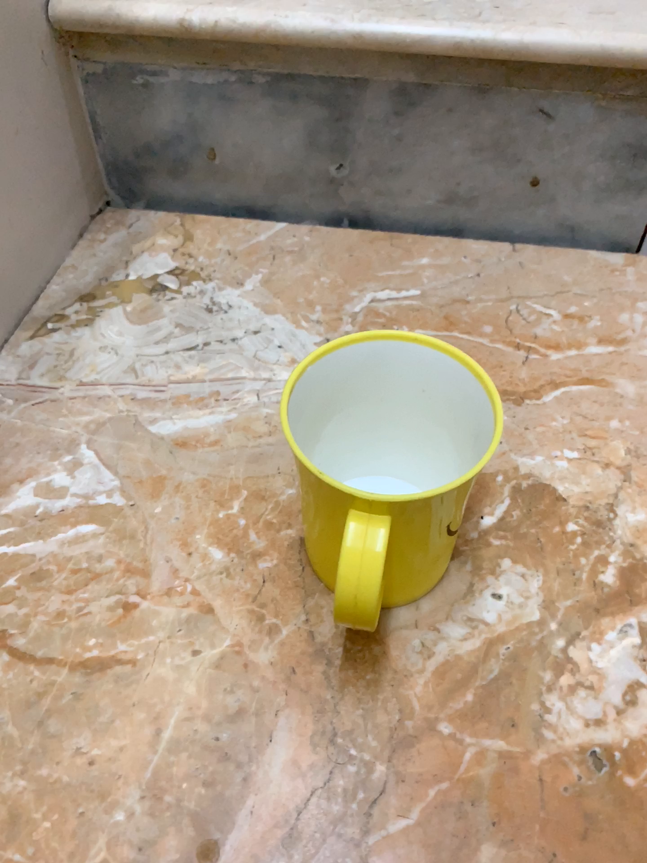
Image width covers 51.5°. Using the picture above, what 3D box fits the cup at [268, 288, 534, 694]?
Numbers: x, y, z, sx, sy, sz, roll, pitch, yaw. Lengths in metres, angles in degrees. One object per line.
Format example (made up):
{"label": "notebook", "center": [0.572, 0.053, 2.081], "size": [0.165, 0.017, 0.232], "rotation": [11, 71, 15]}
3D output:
{"label": "cup", "center": [0.027, 0.020, 0.247], "size": [0.070, 0.089, 0.111], "rotation": [6, 50, 5]}
